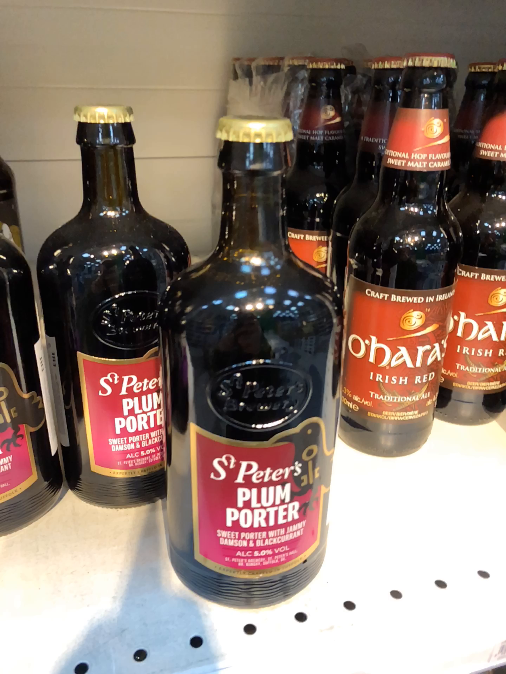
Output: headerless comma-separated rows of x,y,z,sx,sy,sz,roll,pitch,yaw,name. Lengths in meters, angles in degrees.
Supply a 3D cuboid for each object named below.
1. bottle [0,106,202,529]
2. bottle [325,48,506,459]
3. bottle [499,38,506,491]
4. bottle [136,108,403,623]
-0.079,-0.010,0.309,0.079,0.213,0.070,-10,26,-21,bottle
0.092,-0.043,0.339,0.071,0.231,0.070,0,24,0,bottle
0.211,-0.031,0.312,0.074,0.235,0.070,0,24,0,bottle
0.000,0.017,0.238,0.082,0.209,0.059,-4,25,-11,bottle
